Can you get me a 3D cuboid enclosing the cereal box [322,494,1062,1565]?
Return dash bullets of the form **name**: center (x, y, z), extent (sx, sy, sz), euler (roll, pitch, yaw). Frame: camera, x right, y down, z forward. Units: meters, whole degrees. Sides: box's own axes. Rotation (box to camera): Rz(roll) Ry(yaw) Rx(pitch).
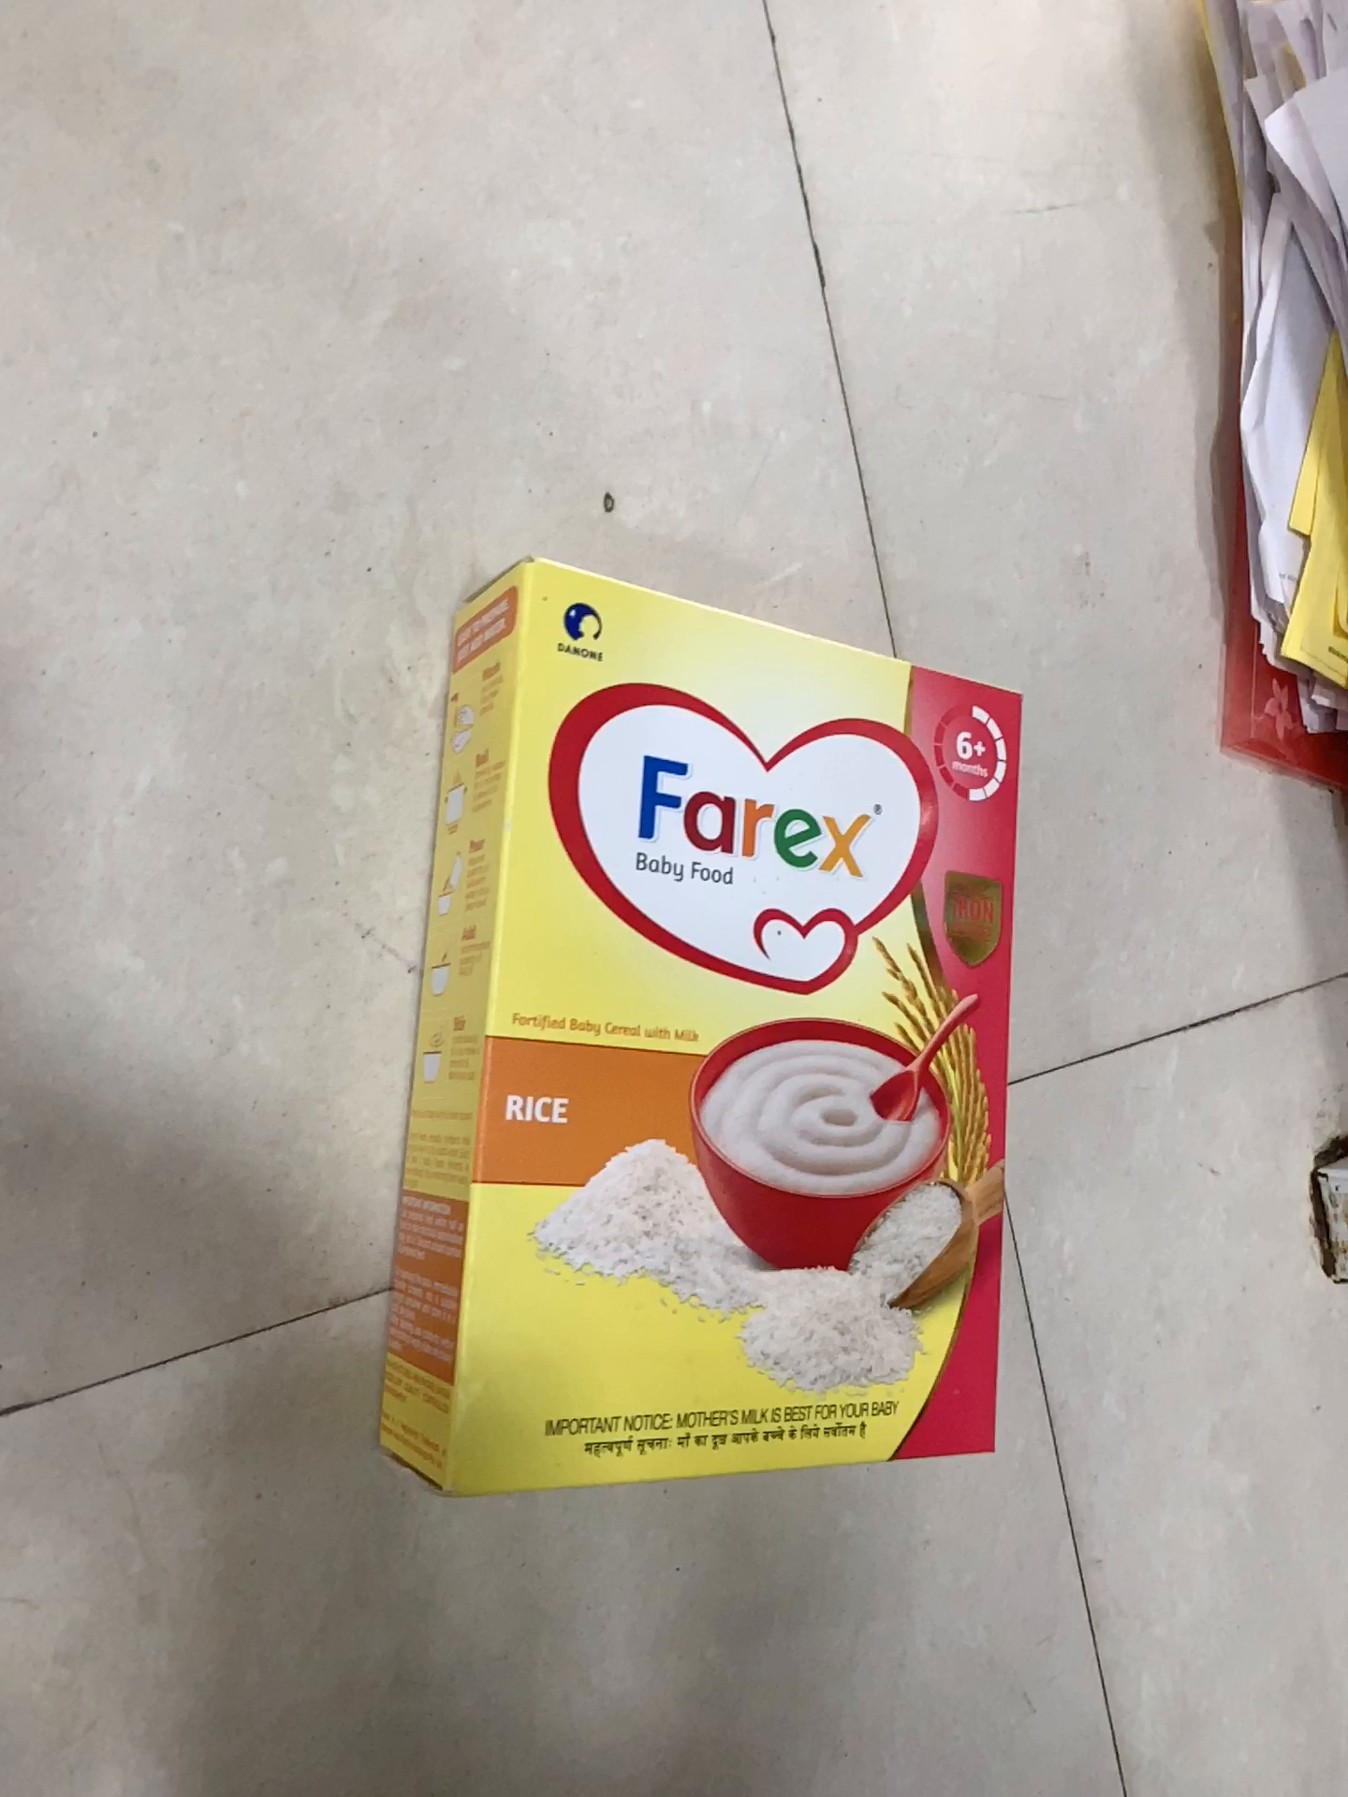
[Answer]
- **cereal box**: center (0.013, 0.033, 0.337), extent (0.161, 0.060, 0.210), euler (9, 79, -30)
